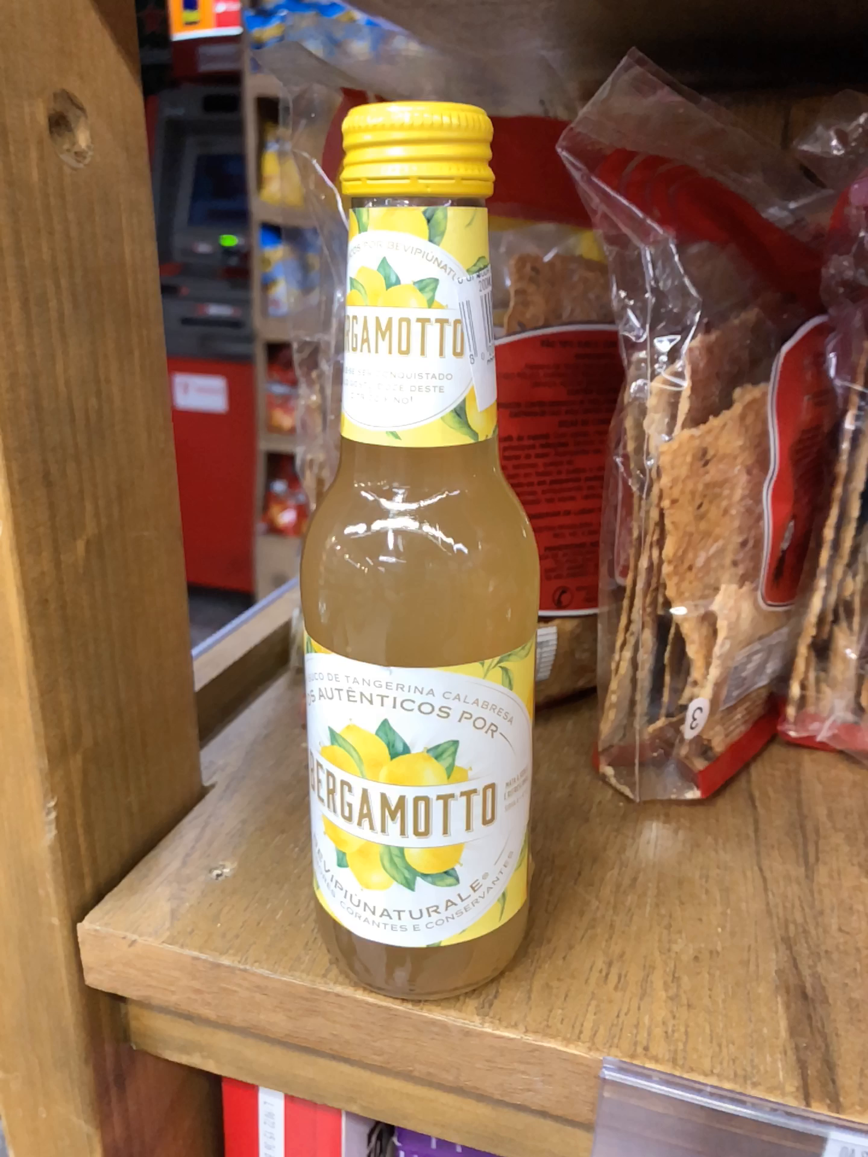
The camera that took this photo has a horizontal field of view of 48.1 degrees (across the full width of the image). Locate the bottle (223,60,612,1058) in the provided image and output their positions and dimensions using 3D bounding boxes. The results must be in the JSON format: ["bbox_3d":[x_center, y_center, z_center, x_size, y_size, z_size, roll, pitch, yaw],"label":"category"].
[{"bbox_3d":[-0.001,0.000,0.220,0.060,0.199,0.060,1,19,0],"label":"bottle"}]
